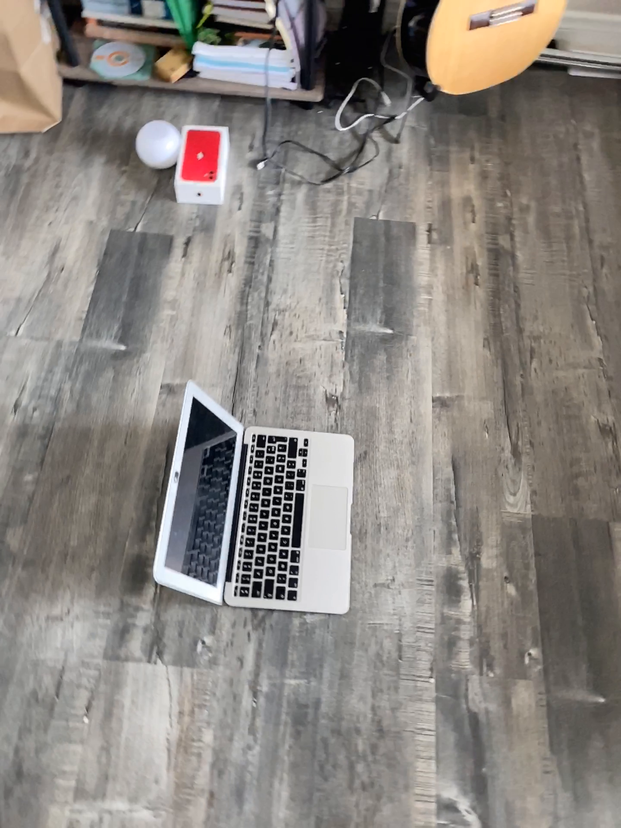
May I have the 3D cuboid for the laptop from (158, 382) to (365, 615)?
[{"bbox_3d":[-0.060,0.125,0.930,0.254,0.160,0.290,3,64,1],"label":"laptop"}]
